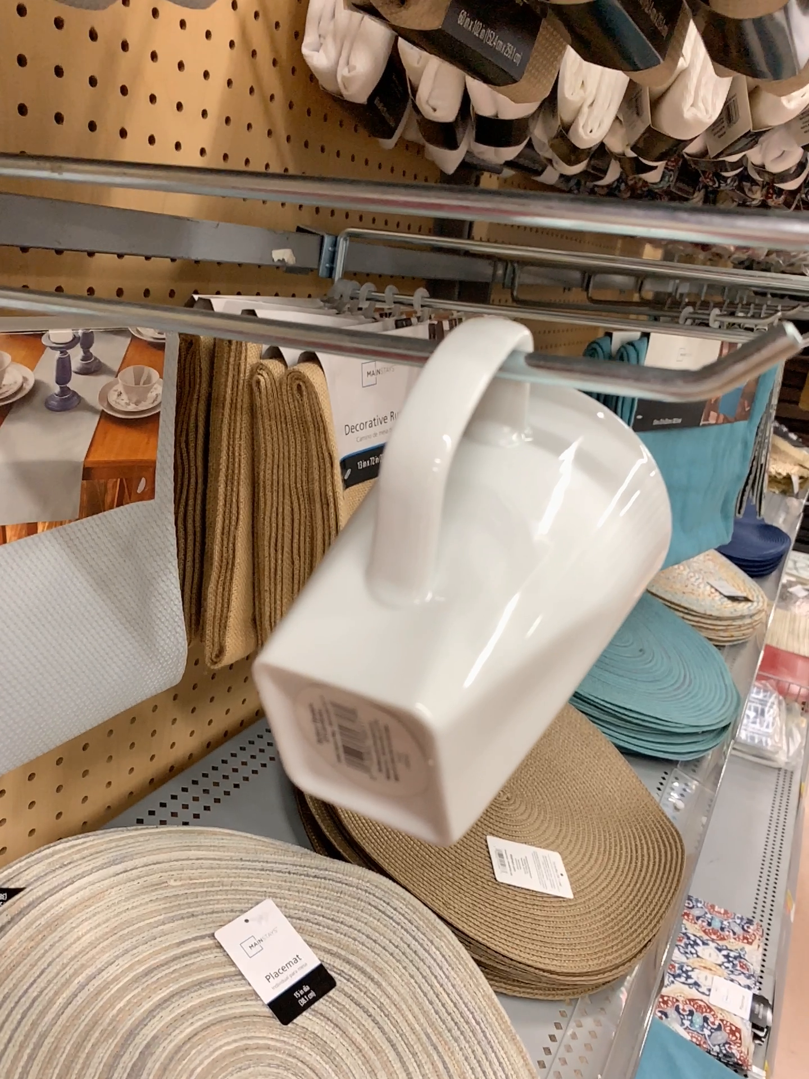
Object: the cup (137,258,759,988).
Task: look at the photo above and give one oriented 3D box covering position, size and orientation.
[{"bbox_3d":[0.021,0.005,0.226,0.090,0.119,0.141,19,36,25],"label":"cup"}]
